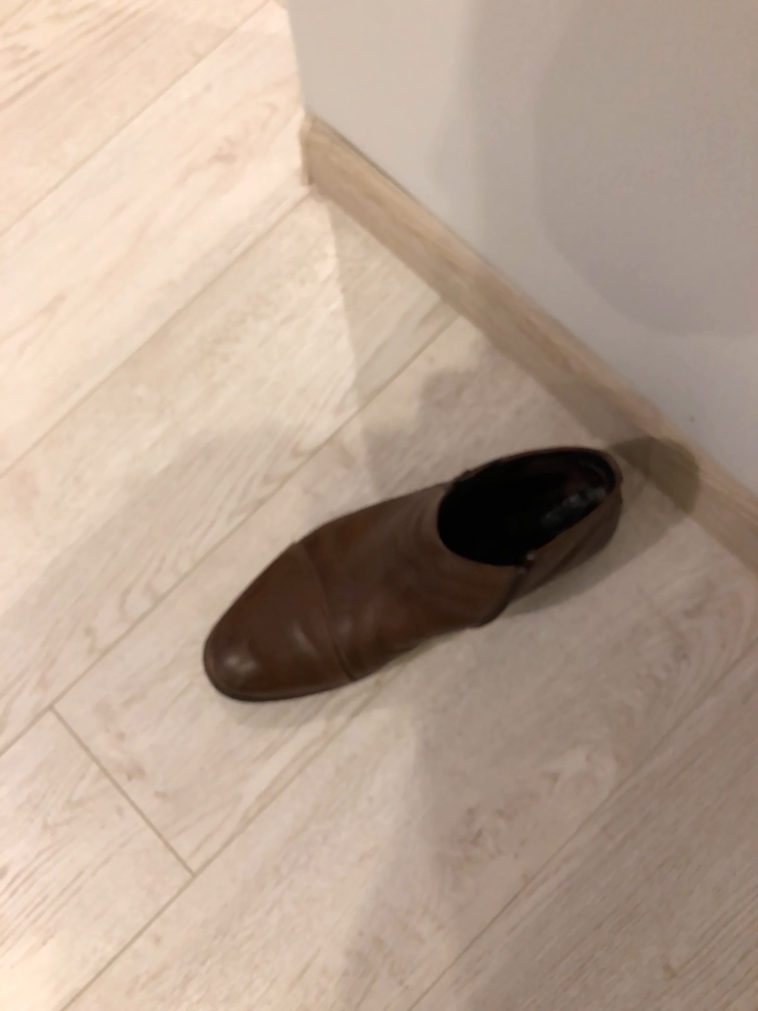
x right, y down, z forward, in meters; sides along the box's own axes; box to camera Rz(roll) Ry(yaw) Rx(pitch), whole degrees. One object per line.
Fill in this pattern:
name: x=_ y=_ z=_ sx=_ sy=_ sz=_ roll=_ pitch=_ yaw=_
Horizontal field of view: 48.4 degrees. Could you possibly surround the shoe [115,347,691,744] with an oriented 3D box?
shoe: x=0.014 y=0.031 z=0.540 sx=0.310 sy=0.110 sz=0.120 roll=-23 pitch=77 yaw=-1
